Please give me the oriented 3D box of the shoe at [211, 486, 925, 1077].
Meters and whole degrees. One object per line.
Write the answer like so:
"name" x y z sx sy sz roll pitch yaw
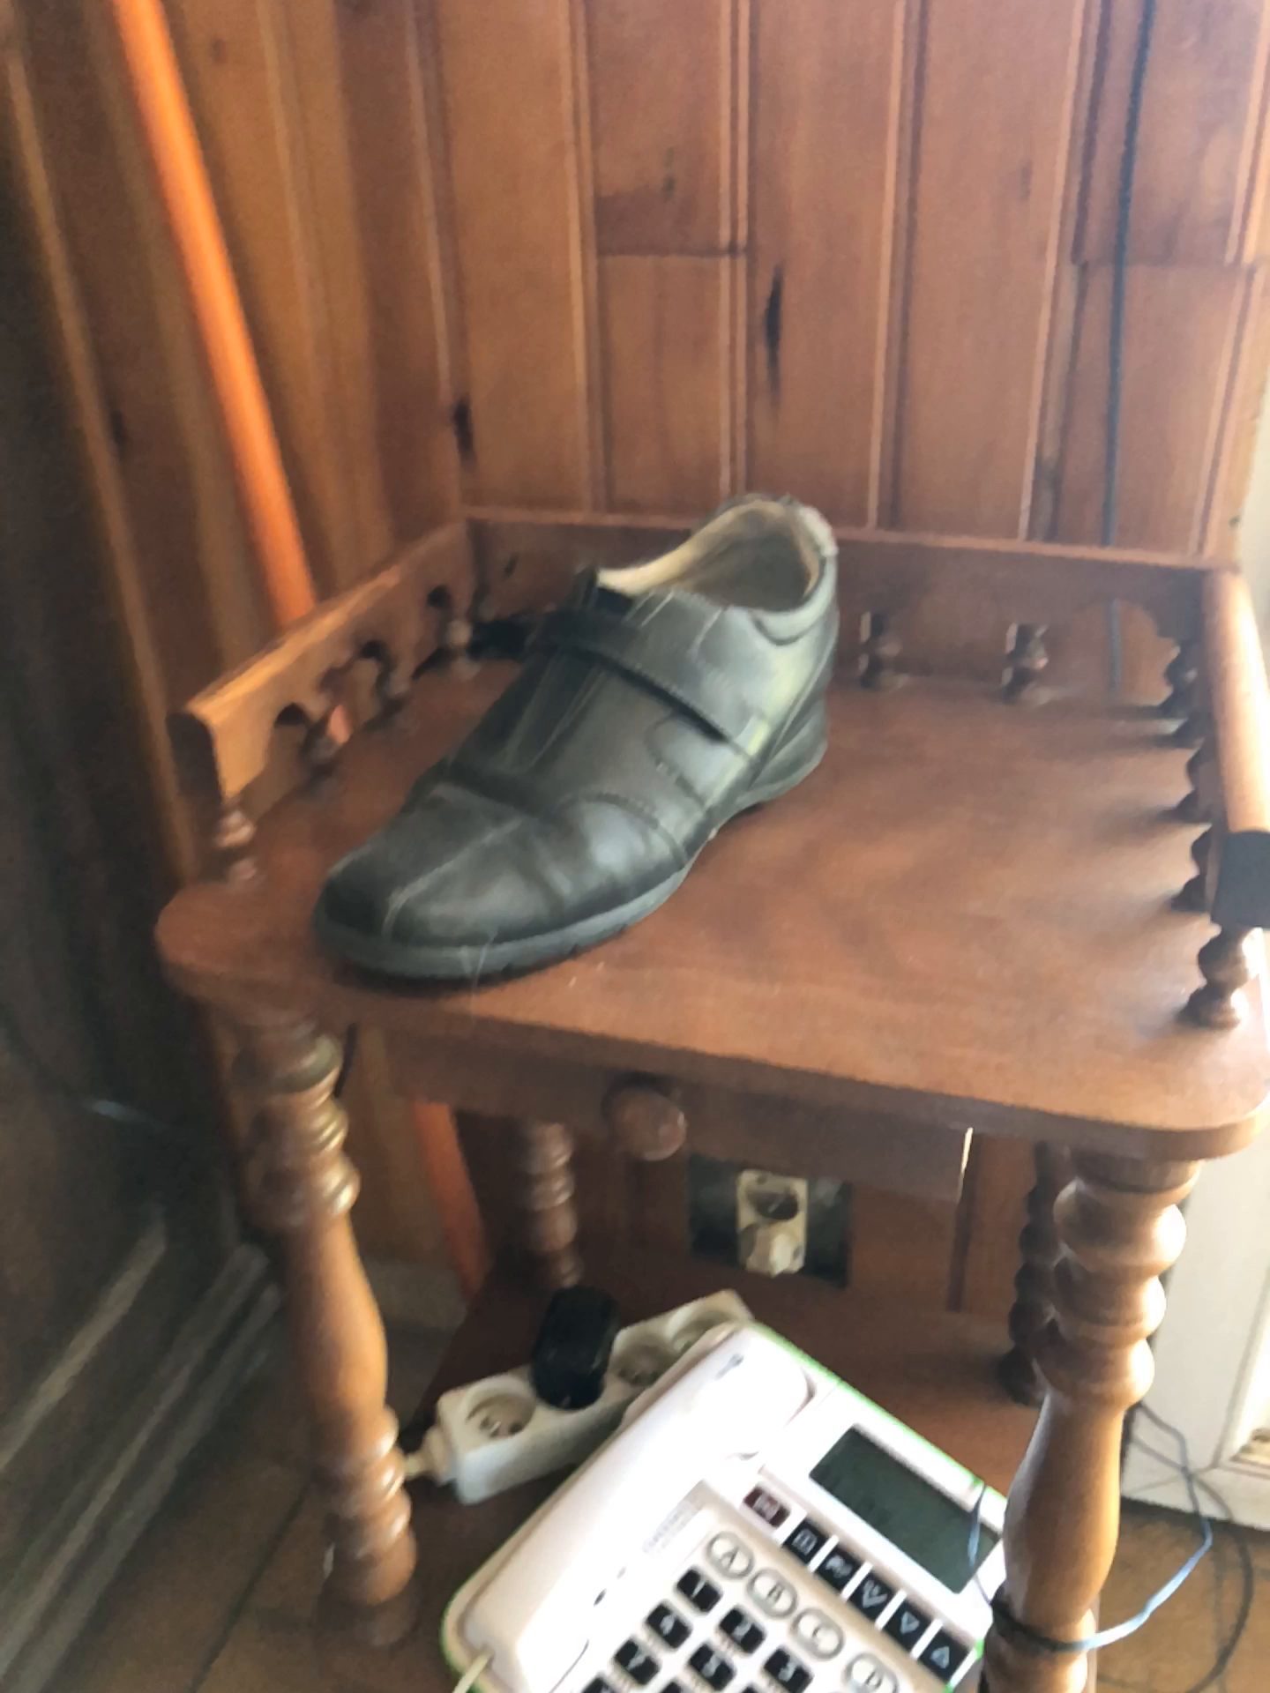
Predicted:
"shoe" -0.007 -0.041 0.499 0.100 0.099 0.251 21 37 34
